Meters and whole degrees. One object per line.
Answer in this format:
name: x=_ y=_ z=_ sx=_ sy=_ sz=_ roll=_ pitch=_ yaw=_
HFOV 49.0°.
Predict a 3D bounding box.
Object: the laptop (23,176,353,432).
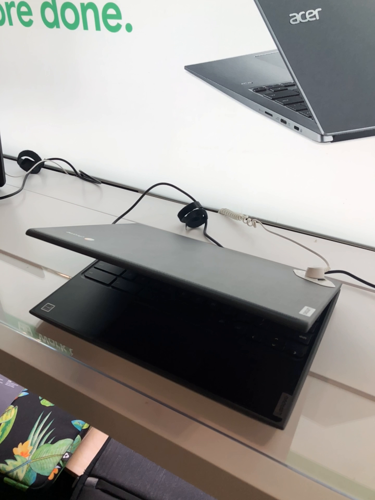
laptop: x=0.000 y=0.021 z=0.423 sx=0.277 sy=0.072 sz=0.186 roll=17 pitch=40 yaw=27
